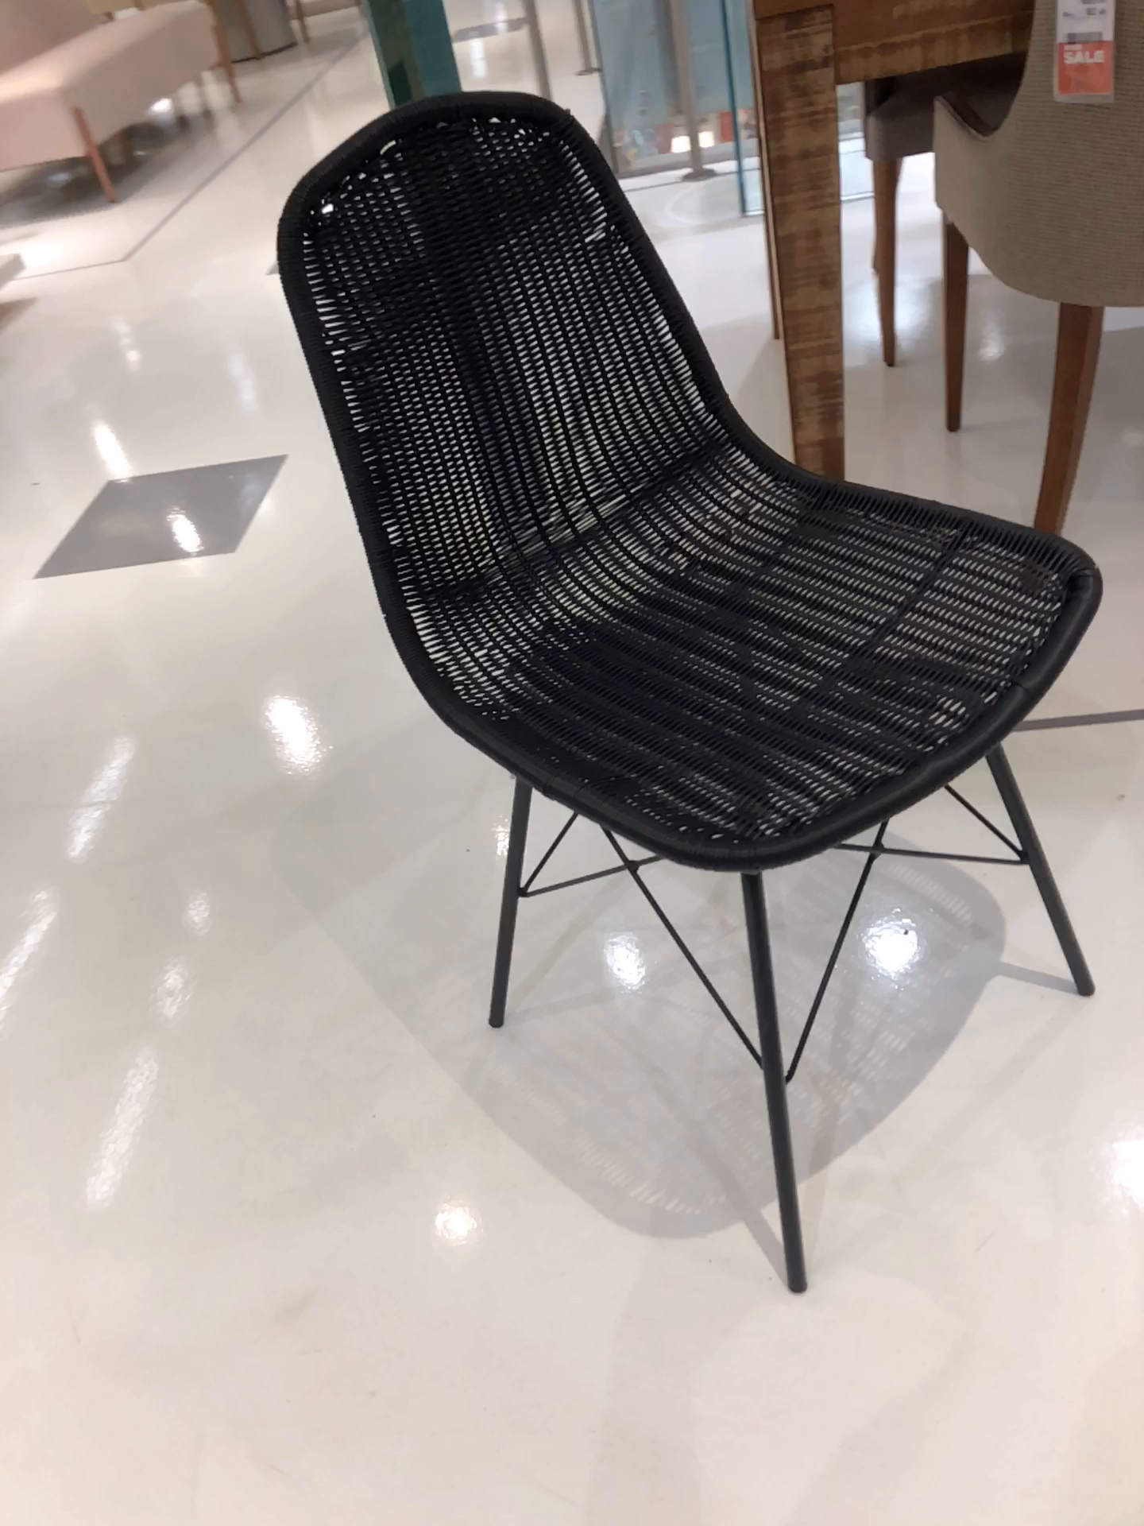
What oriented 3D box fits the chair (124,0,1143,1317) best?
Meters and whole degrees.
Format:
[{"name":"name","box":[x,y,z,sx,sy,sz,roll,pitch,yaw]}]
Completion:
[{"name":"chair","box":[0.120,-0.102,1.029,0.481,0.793,0.553,-35,42,-26]}]
